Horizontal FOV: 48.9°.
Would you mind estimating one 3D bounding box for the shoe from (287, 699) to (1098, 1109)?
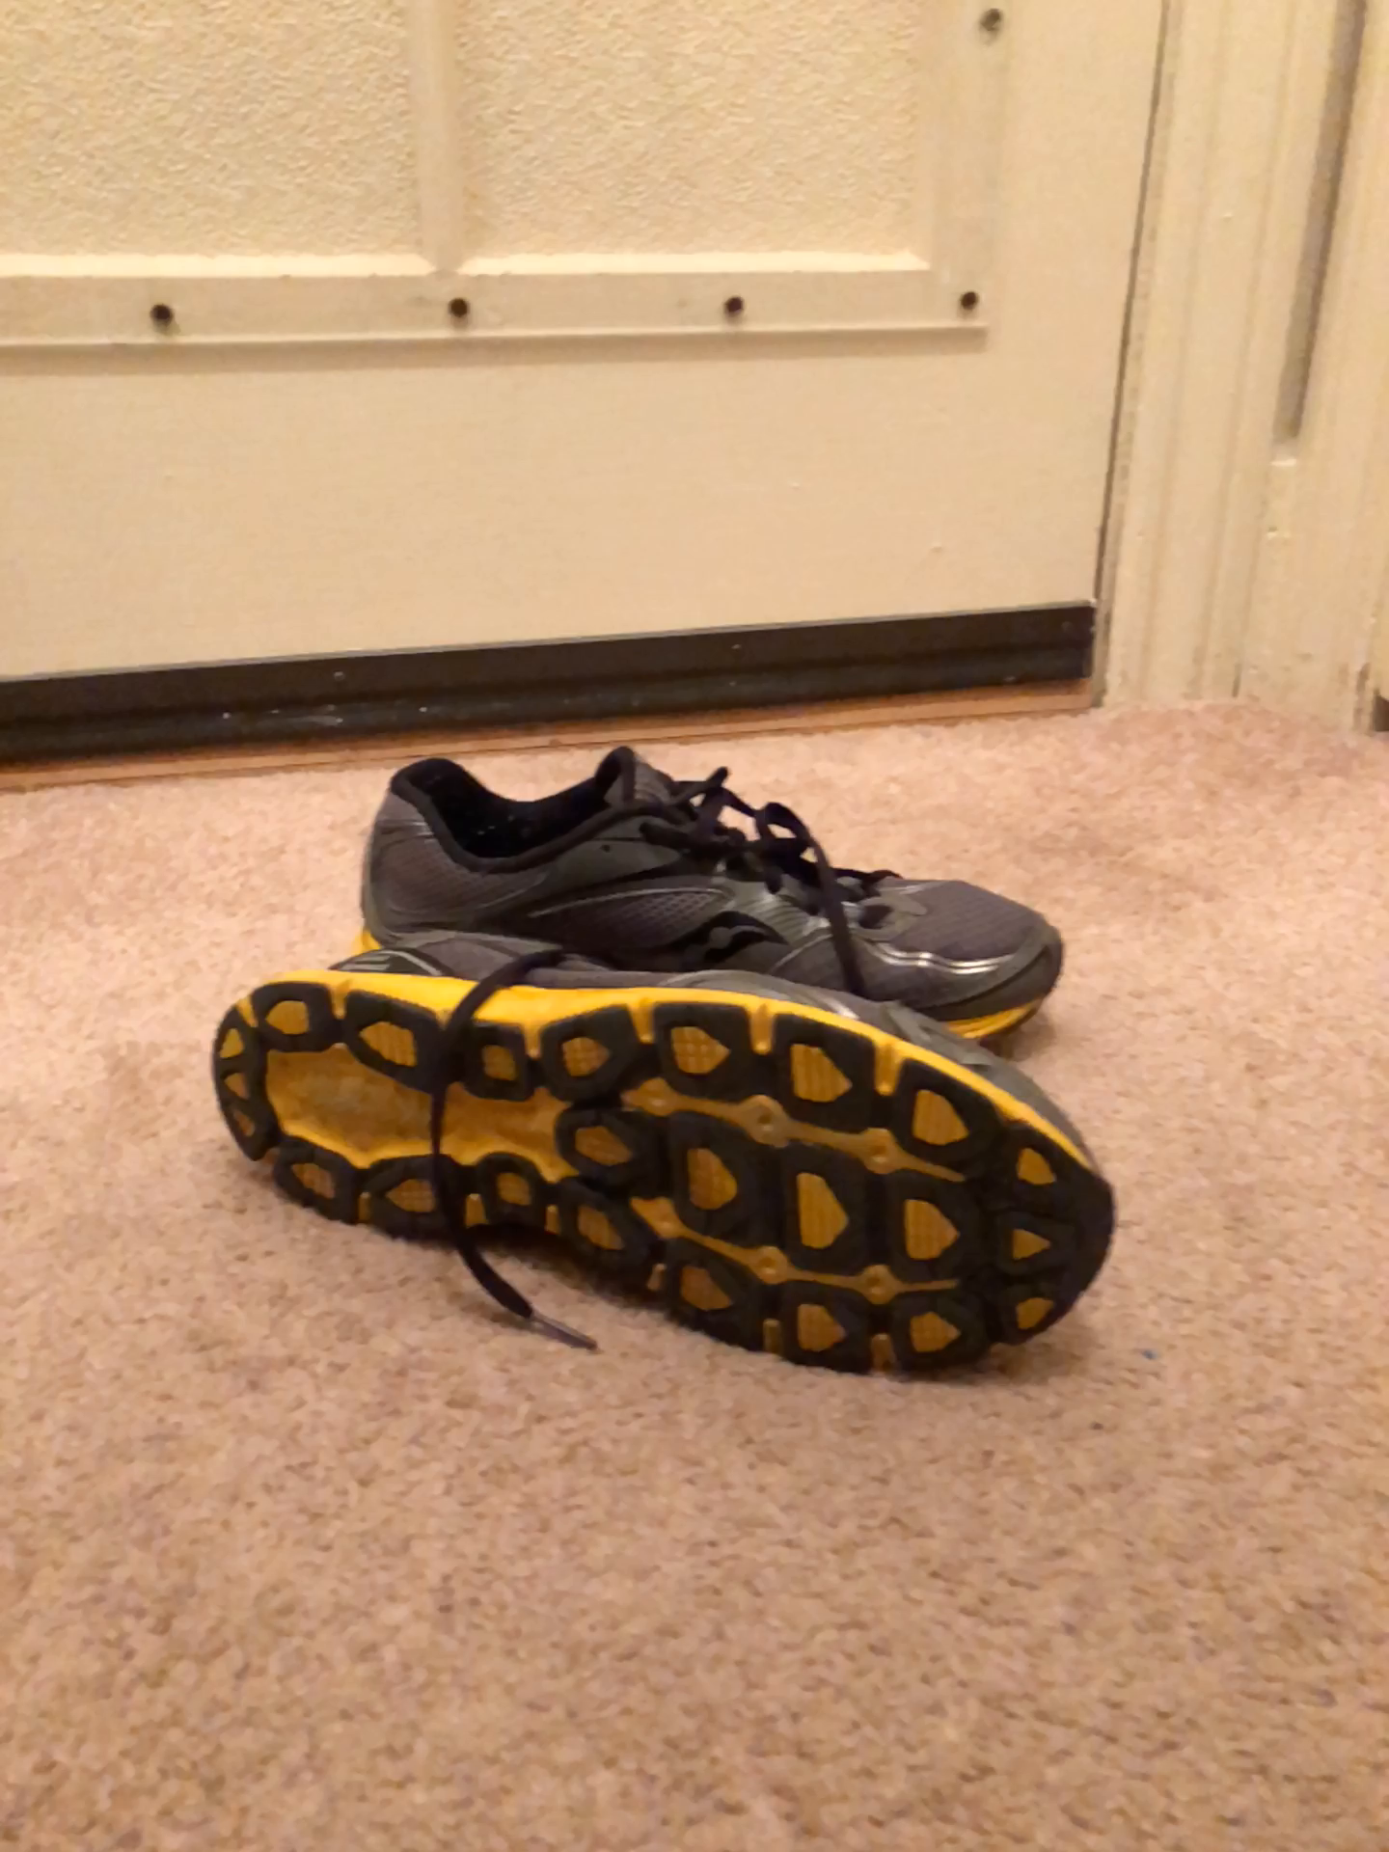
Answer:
[{"bbox_3d":[0.004,-0.016,0.597,0.283,0.099,0.119,5,26,10],"label":"shoe"}]

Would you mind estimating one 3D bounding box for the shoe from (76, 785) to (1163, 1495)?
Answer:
[{"bbox_3d":[-0.021,0.050,0.466,0.293,0.117,0.110,9,29,19],"label":"shoe"}]
